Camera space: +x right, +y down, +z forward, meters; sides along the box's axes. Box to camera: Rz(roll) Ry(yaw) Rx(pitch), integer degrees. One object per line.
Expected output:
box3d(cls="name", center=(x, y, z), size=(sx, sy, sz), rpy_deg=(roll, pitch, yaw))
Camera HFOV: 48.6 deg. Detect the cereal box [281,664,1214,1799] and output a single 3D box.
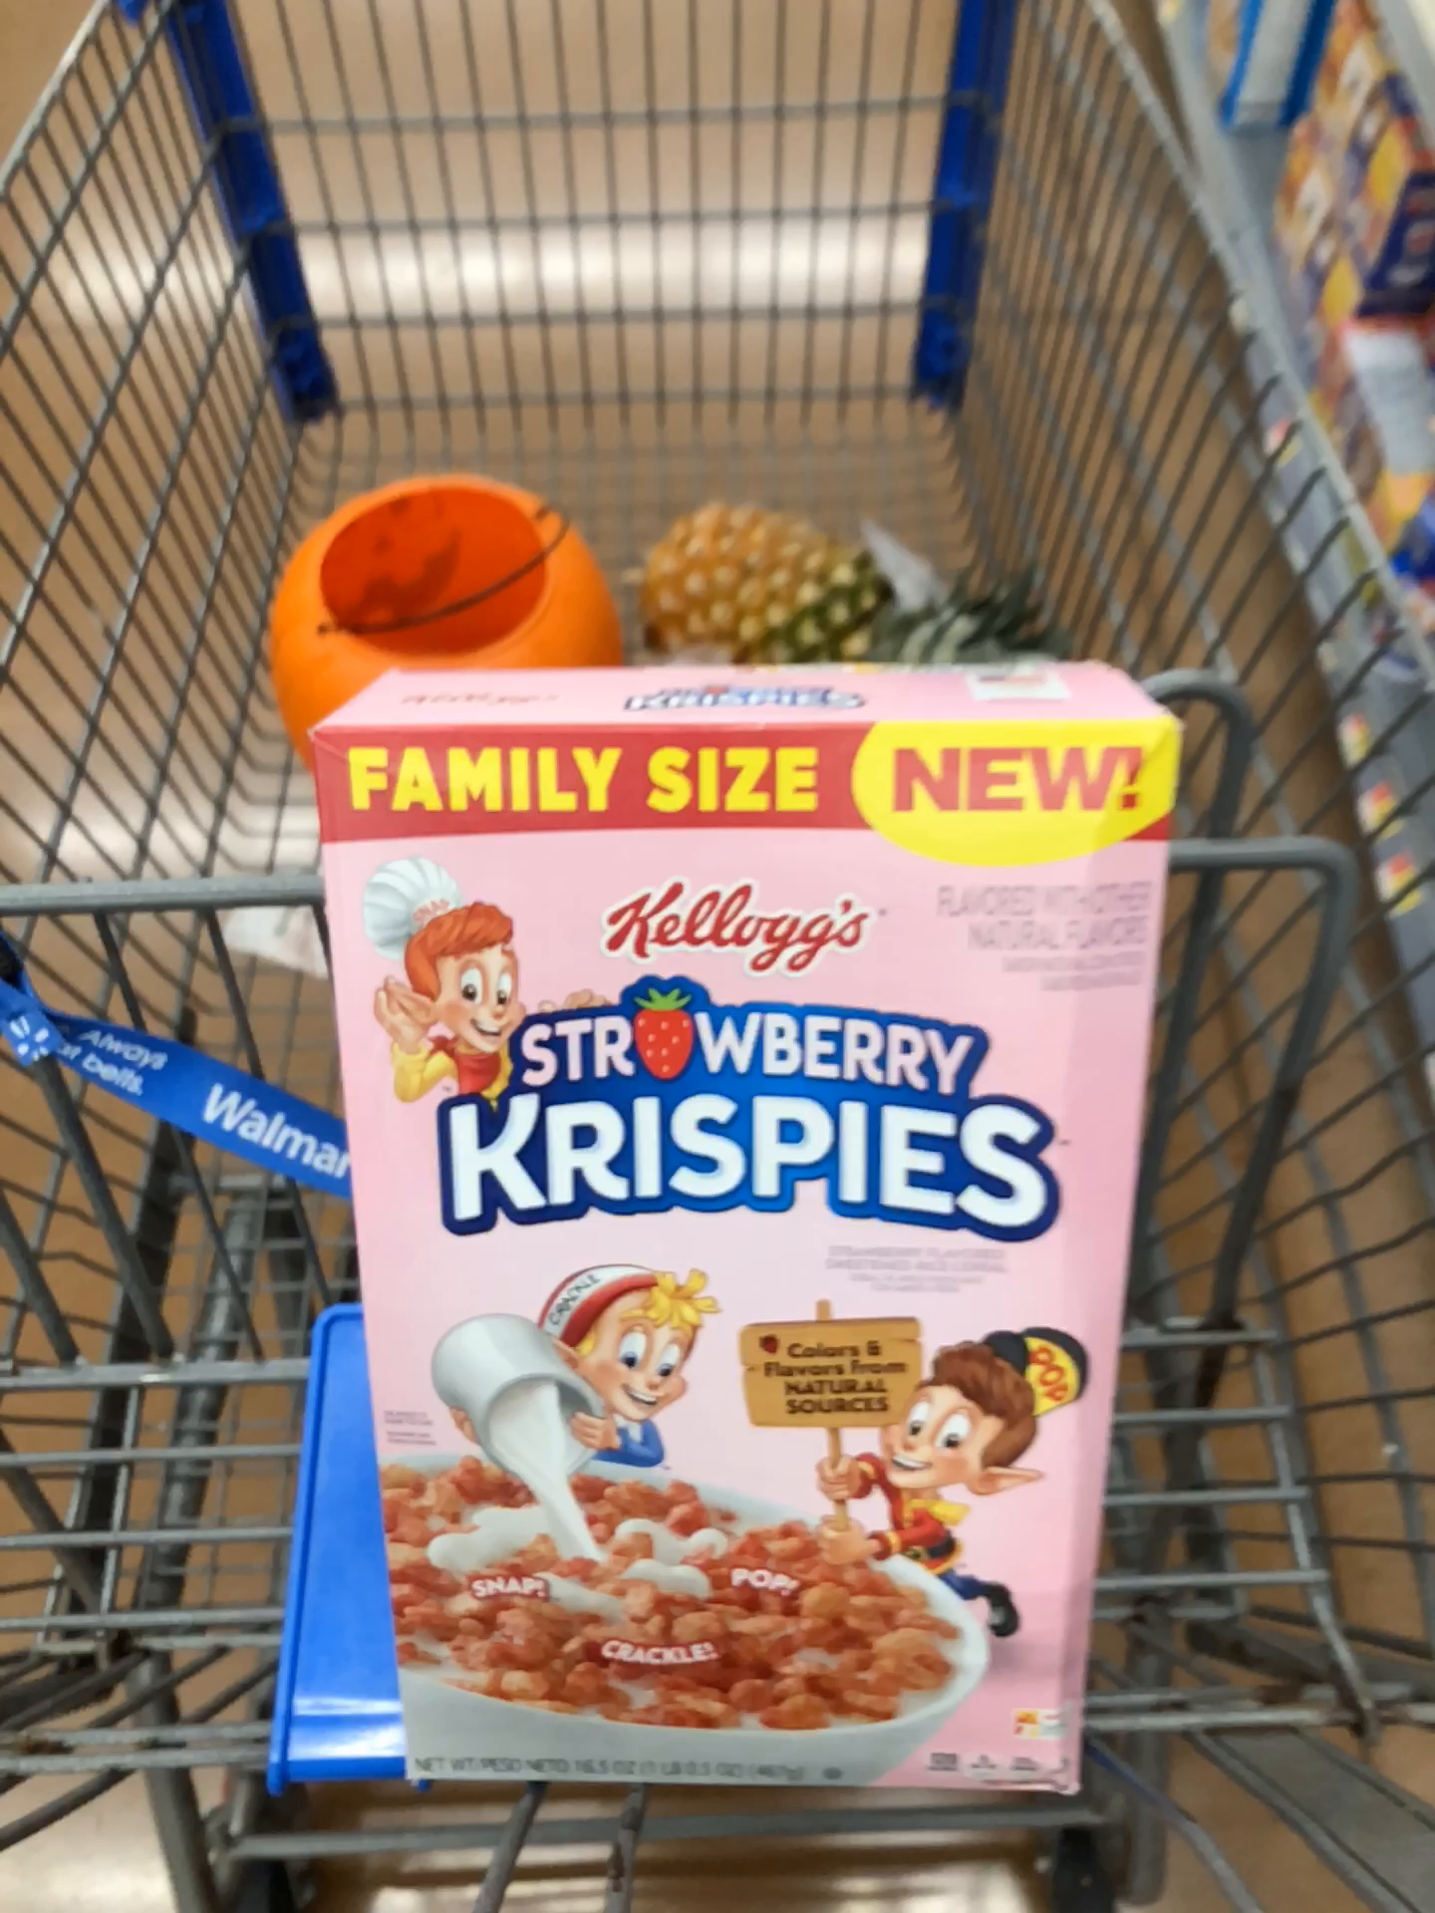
box3d(cls="cereal box", center=(0.007, 0.074, 0.422), size=(0.200, 0.290, 0.080), rpy_deg=(-1, 17, -1))
